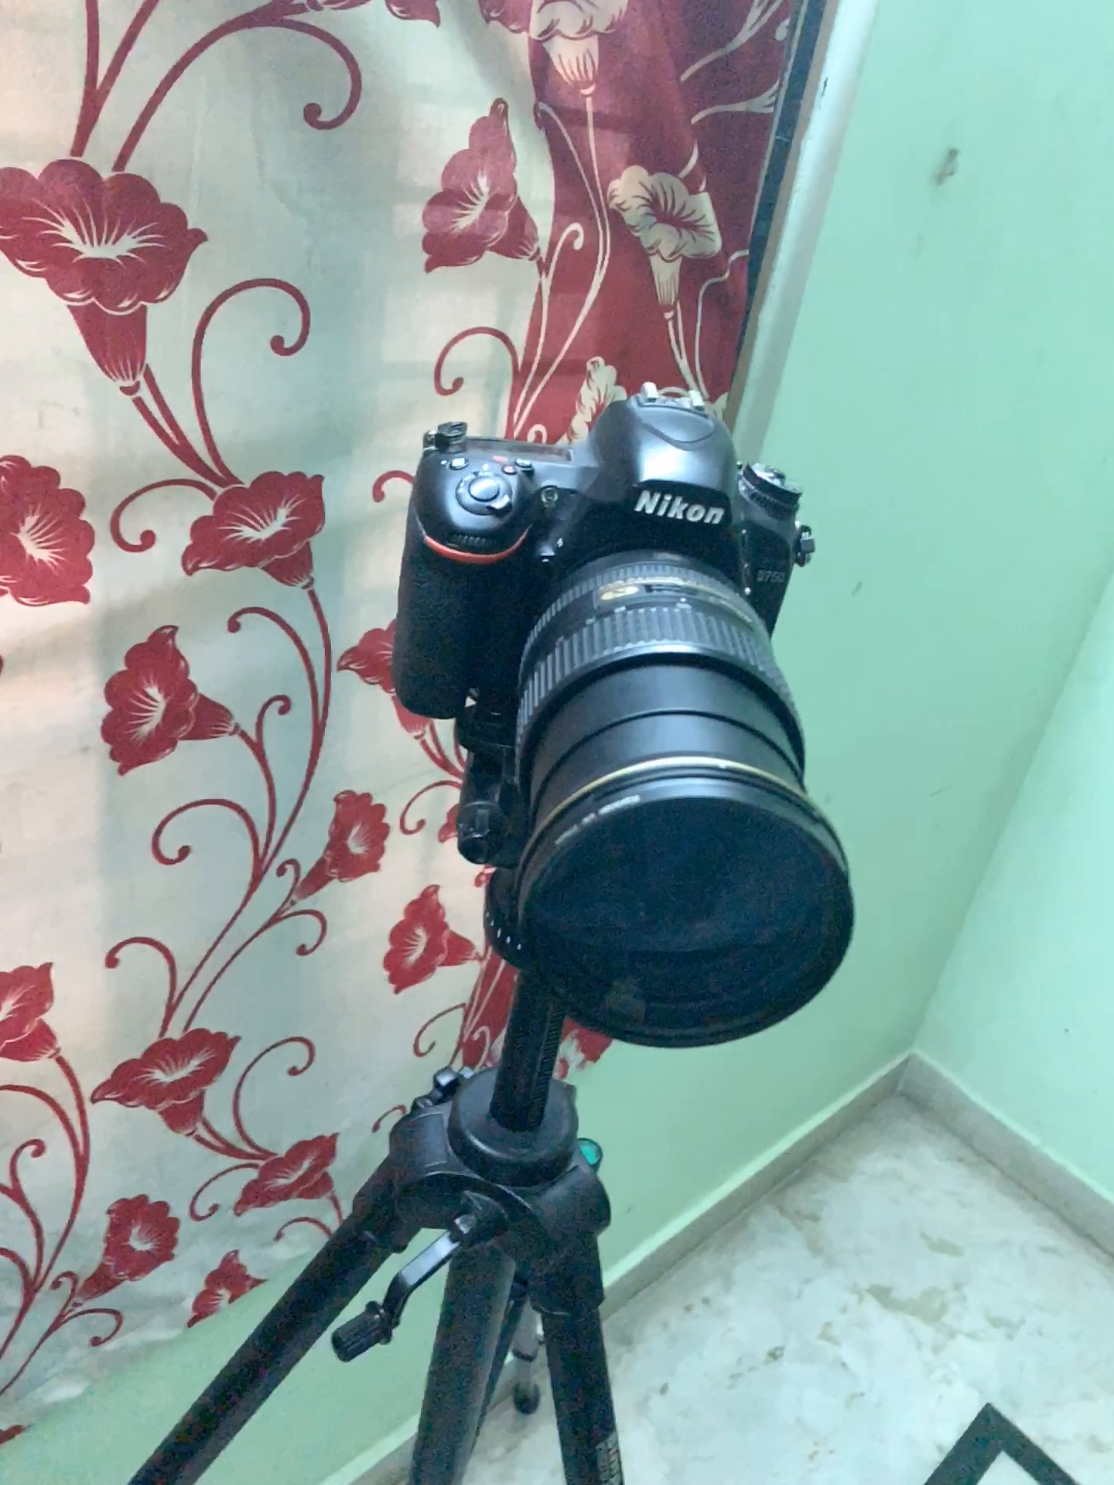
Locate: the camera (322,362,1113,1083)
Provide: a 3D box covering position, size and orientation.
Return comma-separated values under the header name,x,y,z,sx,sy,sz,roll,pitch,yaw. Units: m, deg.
name,x,y,z,sx,sy,sz,roll,pitch,yaw
camera,0.032,-0.015,0.329,0.172,0.122,0.171,6,30,-9
